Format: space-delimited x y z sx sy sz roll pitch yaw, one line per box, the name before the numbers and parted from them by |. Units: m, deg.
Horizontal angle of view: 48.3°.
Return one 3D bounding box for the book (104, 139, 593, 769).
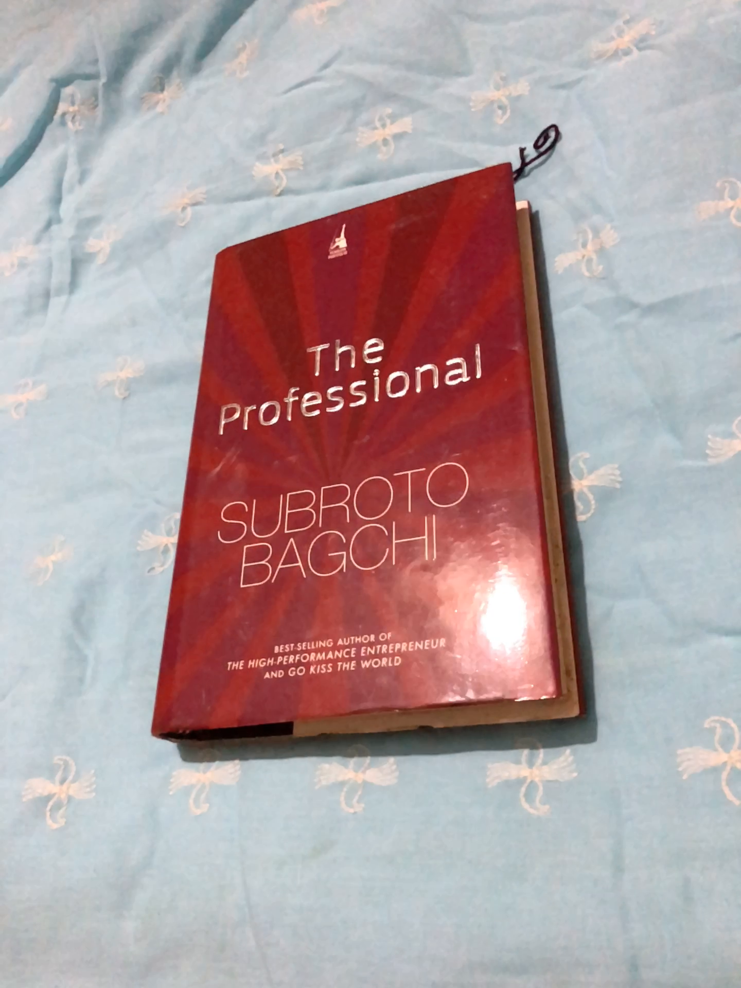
book | -0.008 -0.019 0.302 0.150 0.030 0.220 -9 62 20
